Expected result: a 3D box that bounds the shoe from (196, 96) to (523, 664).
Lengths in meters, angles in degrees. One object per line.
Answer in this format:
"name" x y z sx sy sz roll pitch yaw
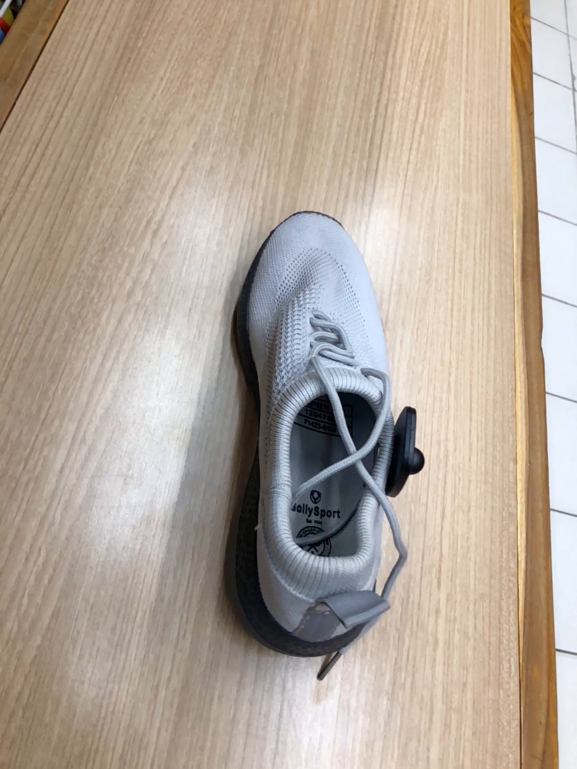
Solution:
"shoe" 0.030 0.001 0.344 0.106 0.122 0.265 11 63 -14
